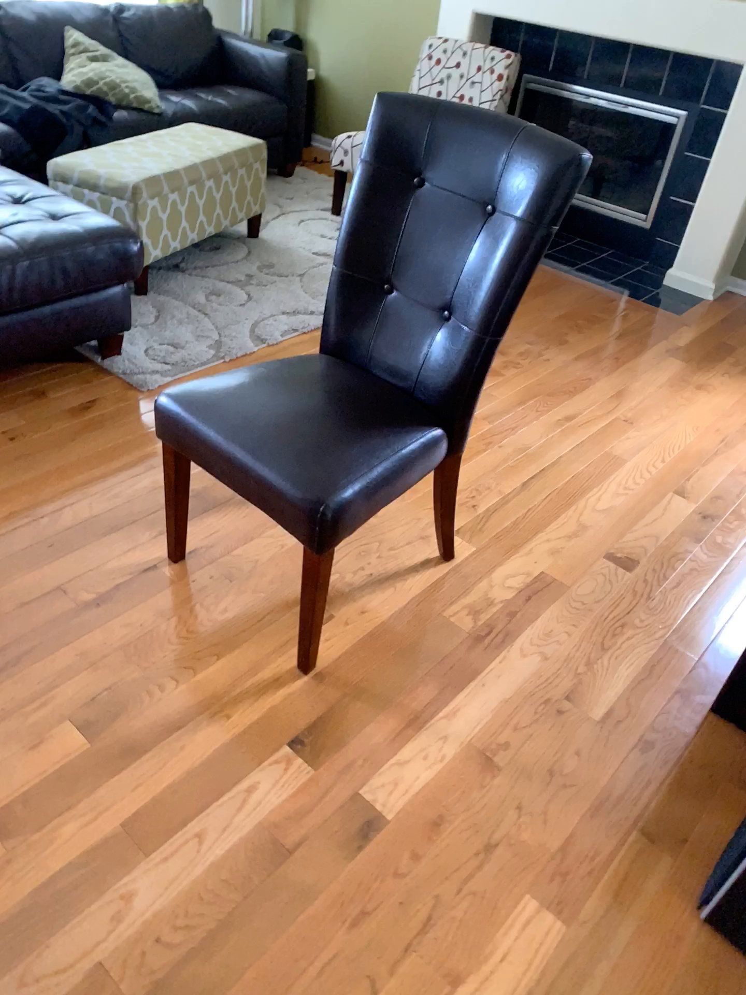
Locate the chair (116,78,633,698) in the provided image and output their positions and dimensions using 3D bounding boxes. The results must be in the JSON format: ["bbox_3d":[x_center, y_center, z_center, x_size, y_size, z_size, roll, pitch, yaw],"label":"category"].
[{"bbox_3d":[-0.016,-0.256,1.583,0.539,0.976,0.725,33,44,30],"label":"chair"}]
